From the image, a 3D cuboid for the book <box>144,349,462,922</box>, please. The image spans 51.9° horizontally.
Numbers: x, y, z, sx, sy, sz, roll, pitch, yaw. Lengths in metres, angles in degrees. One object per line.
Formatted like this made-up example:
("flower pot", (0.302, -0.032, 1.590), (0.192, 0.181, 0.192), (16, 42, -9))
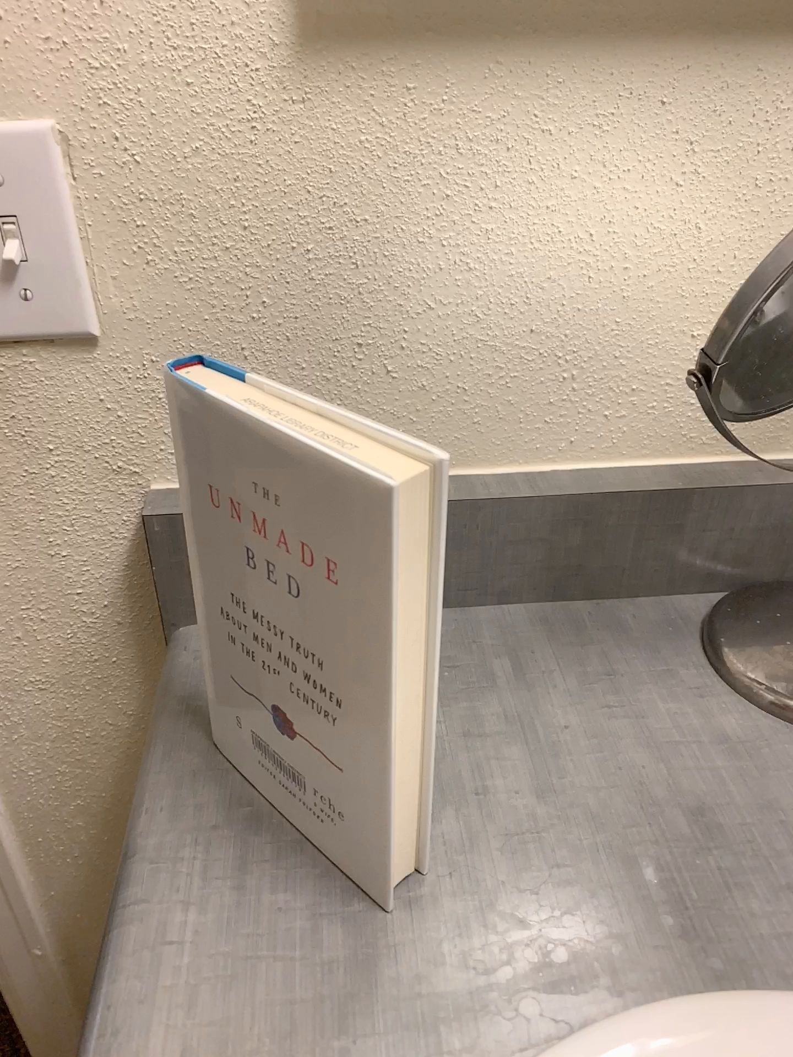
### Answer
("book", (-0.044, 0.046, 0.362), (0.033, 0.214, 0.152), (-25, 39, -37))
